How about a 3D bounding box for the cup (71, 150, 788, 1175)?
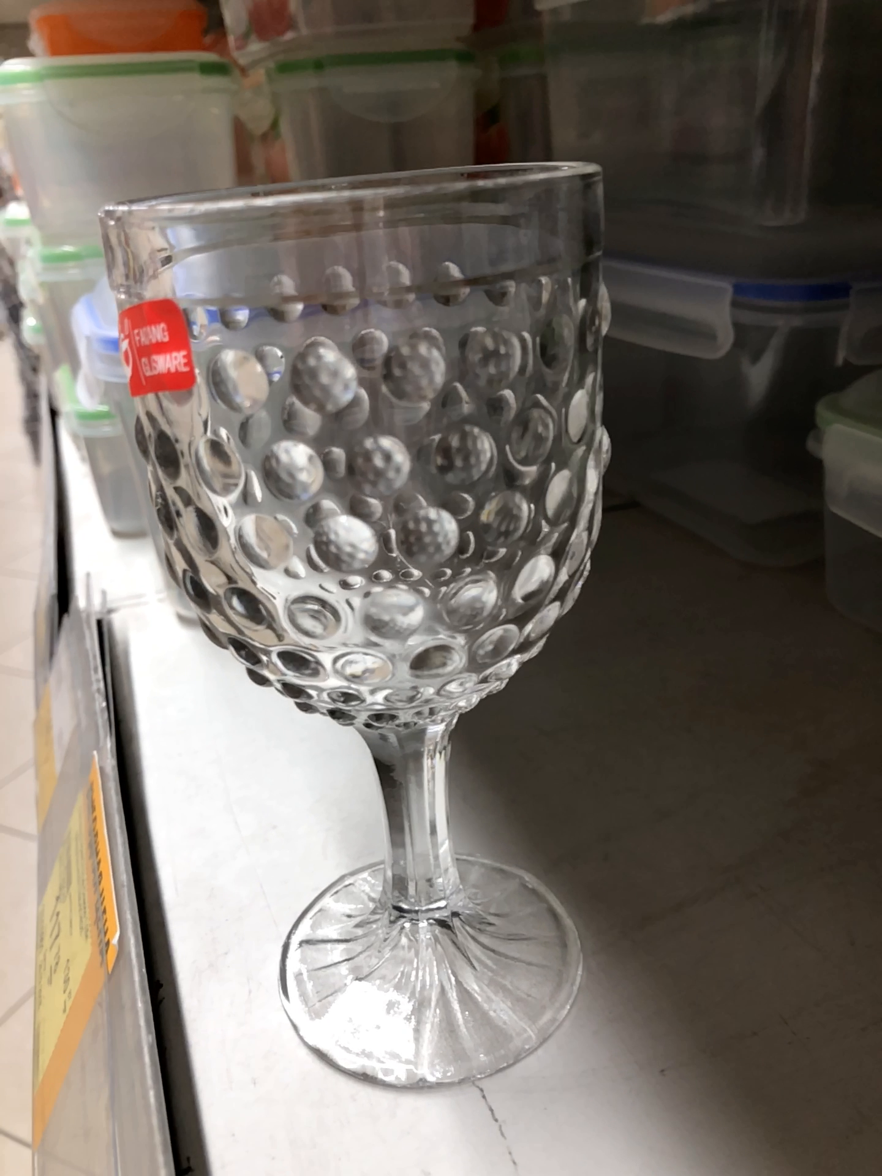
[{"bbox_3d":[-0.006,0.009,0.182,0.086,0.160,0.081,-3,24,1],"label":"cup"}]
